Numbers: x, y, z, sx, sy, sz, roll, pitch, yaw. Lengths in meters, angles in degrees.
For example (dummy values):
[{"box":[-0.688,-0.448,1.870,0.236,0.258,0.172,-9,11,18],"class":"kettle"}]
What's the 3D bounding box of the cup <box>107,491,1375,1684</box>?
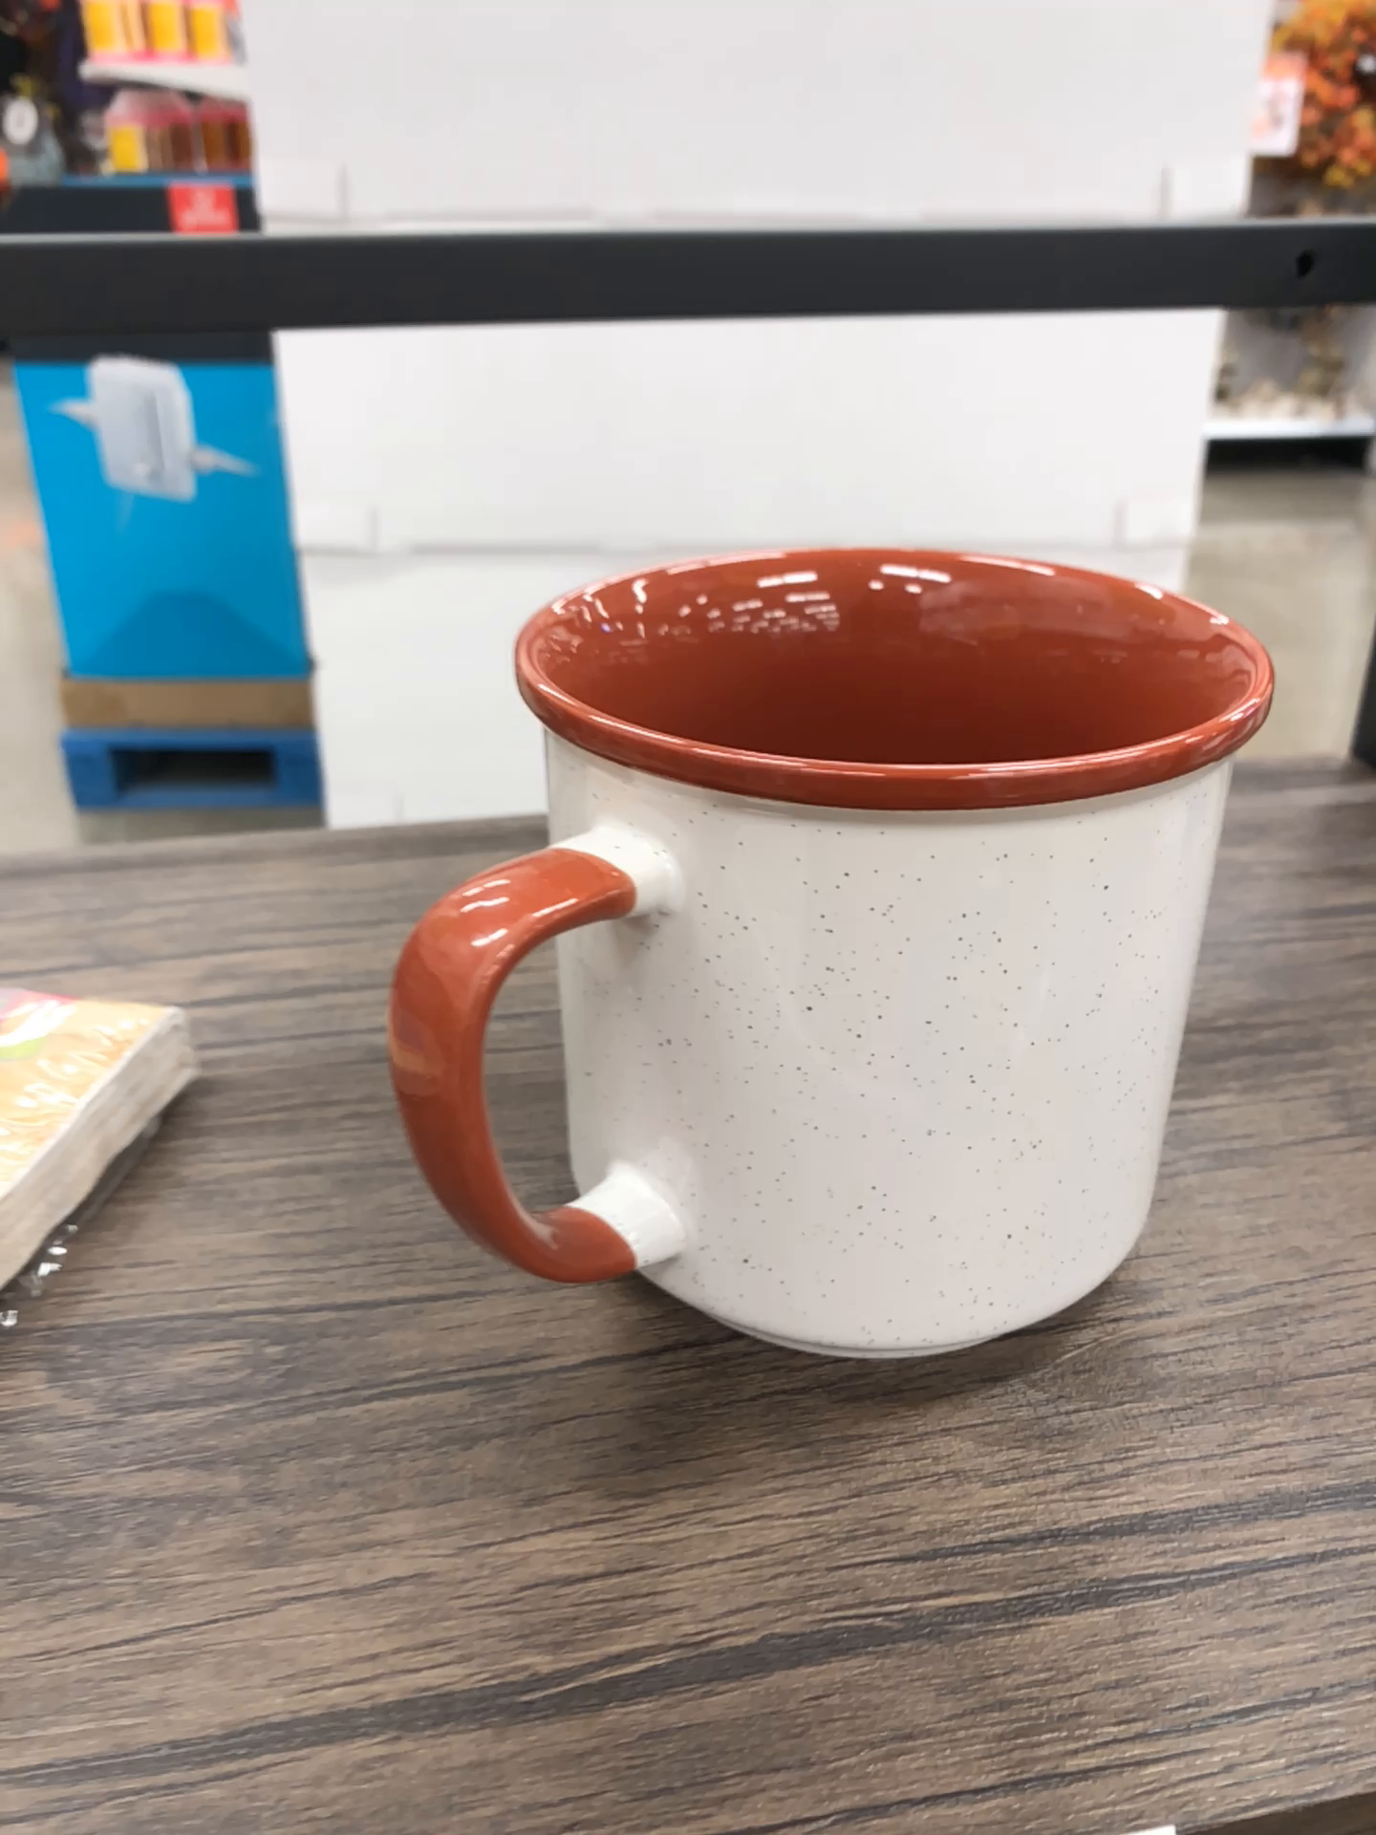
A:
[{"box":[0.017,0.002,0.235,0.110,0.090,0.150,24,36,37],"class":"cup"}]
